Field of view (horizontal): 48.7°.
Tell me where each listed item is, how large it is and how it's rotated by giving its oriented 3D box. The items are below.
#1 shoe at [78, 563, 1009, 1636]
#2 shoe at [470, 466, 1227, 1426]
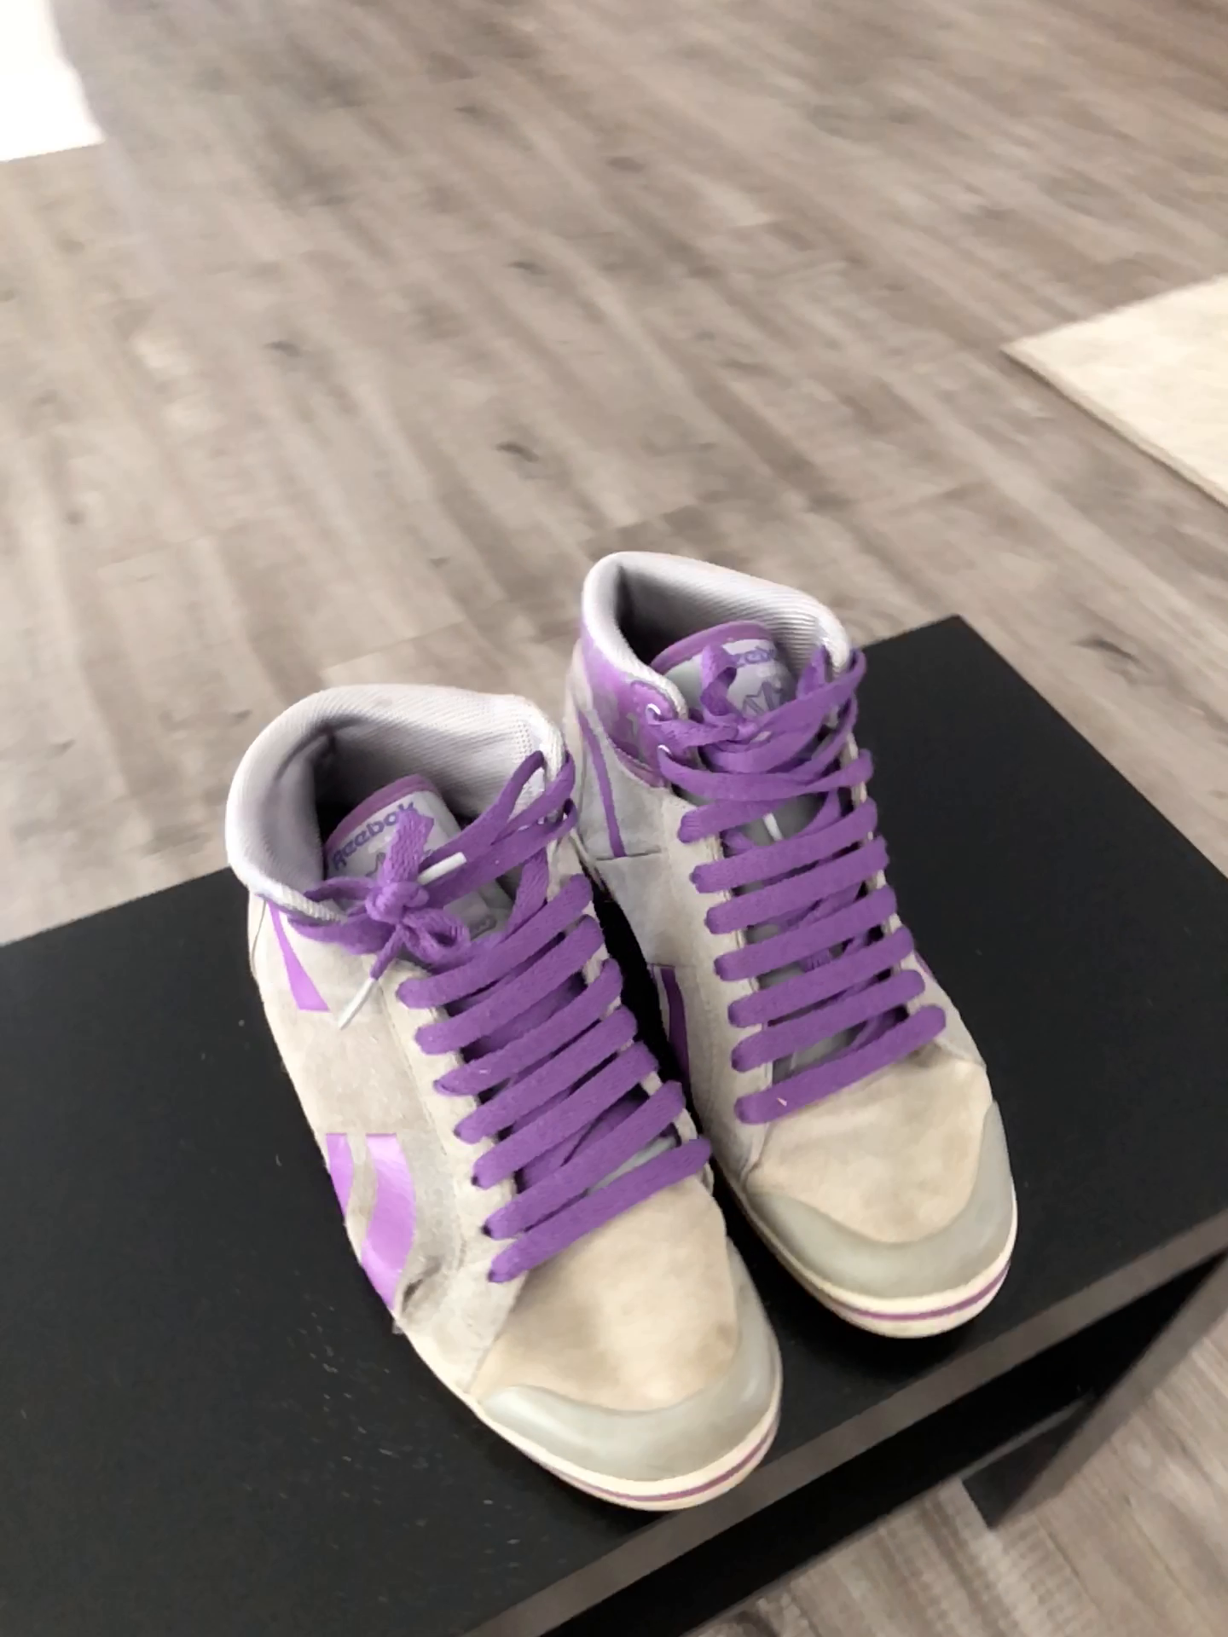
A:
[{"bbox_3d":[-0.034,0.062,0.349,0.100,0.120,0.241,-25,53,-22],"label":"shoe"},{"bbox_3d":[0.045,0.020,0.385,0.090,0.110,0.241,-17,51,-16],"label":"shoe"}]
